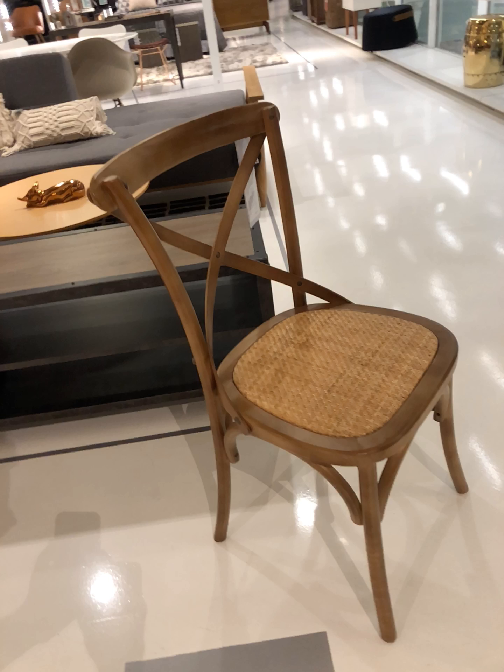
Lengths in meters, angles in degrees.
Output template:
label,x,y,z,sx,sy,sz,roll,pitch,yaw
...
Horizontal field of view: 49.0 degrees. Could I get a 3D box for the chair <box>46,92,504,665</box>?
label,x,y,z,sx,sy,sz,roll,pitch,yaw
chair,0.115,0.043,1.086,0.572,0.864,0.502,16,41,33
